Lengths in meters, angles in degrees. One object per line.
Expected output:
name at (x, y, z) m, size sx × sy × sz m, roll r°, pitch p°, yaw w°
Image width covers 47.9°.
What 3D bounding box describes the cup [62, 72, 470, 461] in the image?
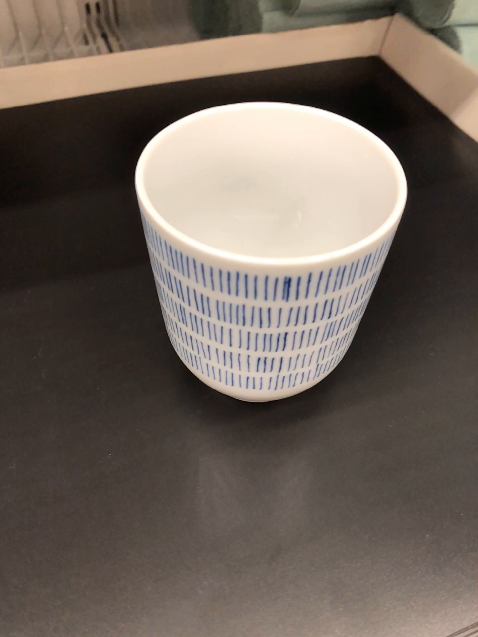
cup at (0.001, -0.017, 0.158) m, size 0.080 × 0.070 × 0.070 m, roll -14°, pitch 50°, yaw -14°
